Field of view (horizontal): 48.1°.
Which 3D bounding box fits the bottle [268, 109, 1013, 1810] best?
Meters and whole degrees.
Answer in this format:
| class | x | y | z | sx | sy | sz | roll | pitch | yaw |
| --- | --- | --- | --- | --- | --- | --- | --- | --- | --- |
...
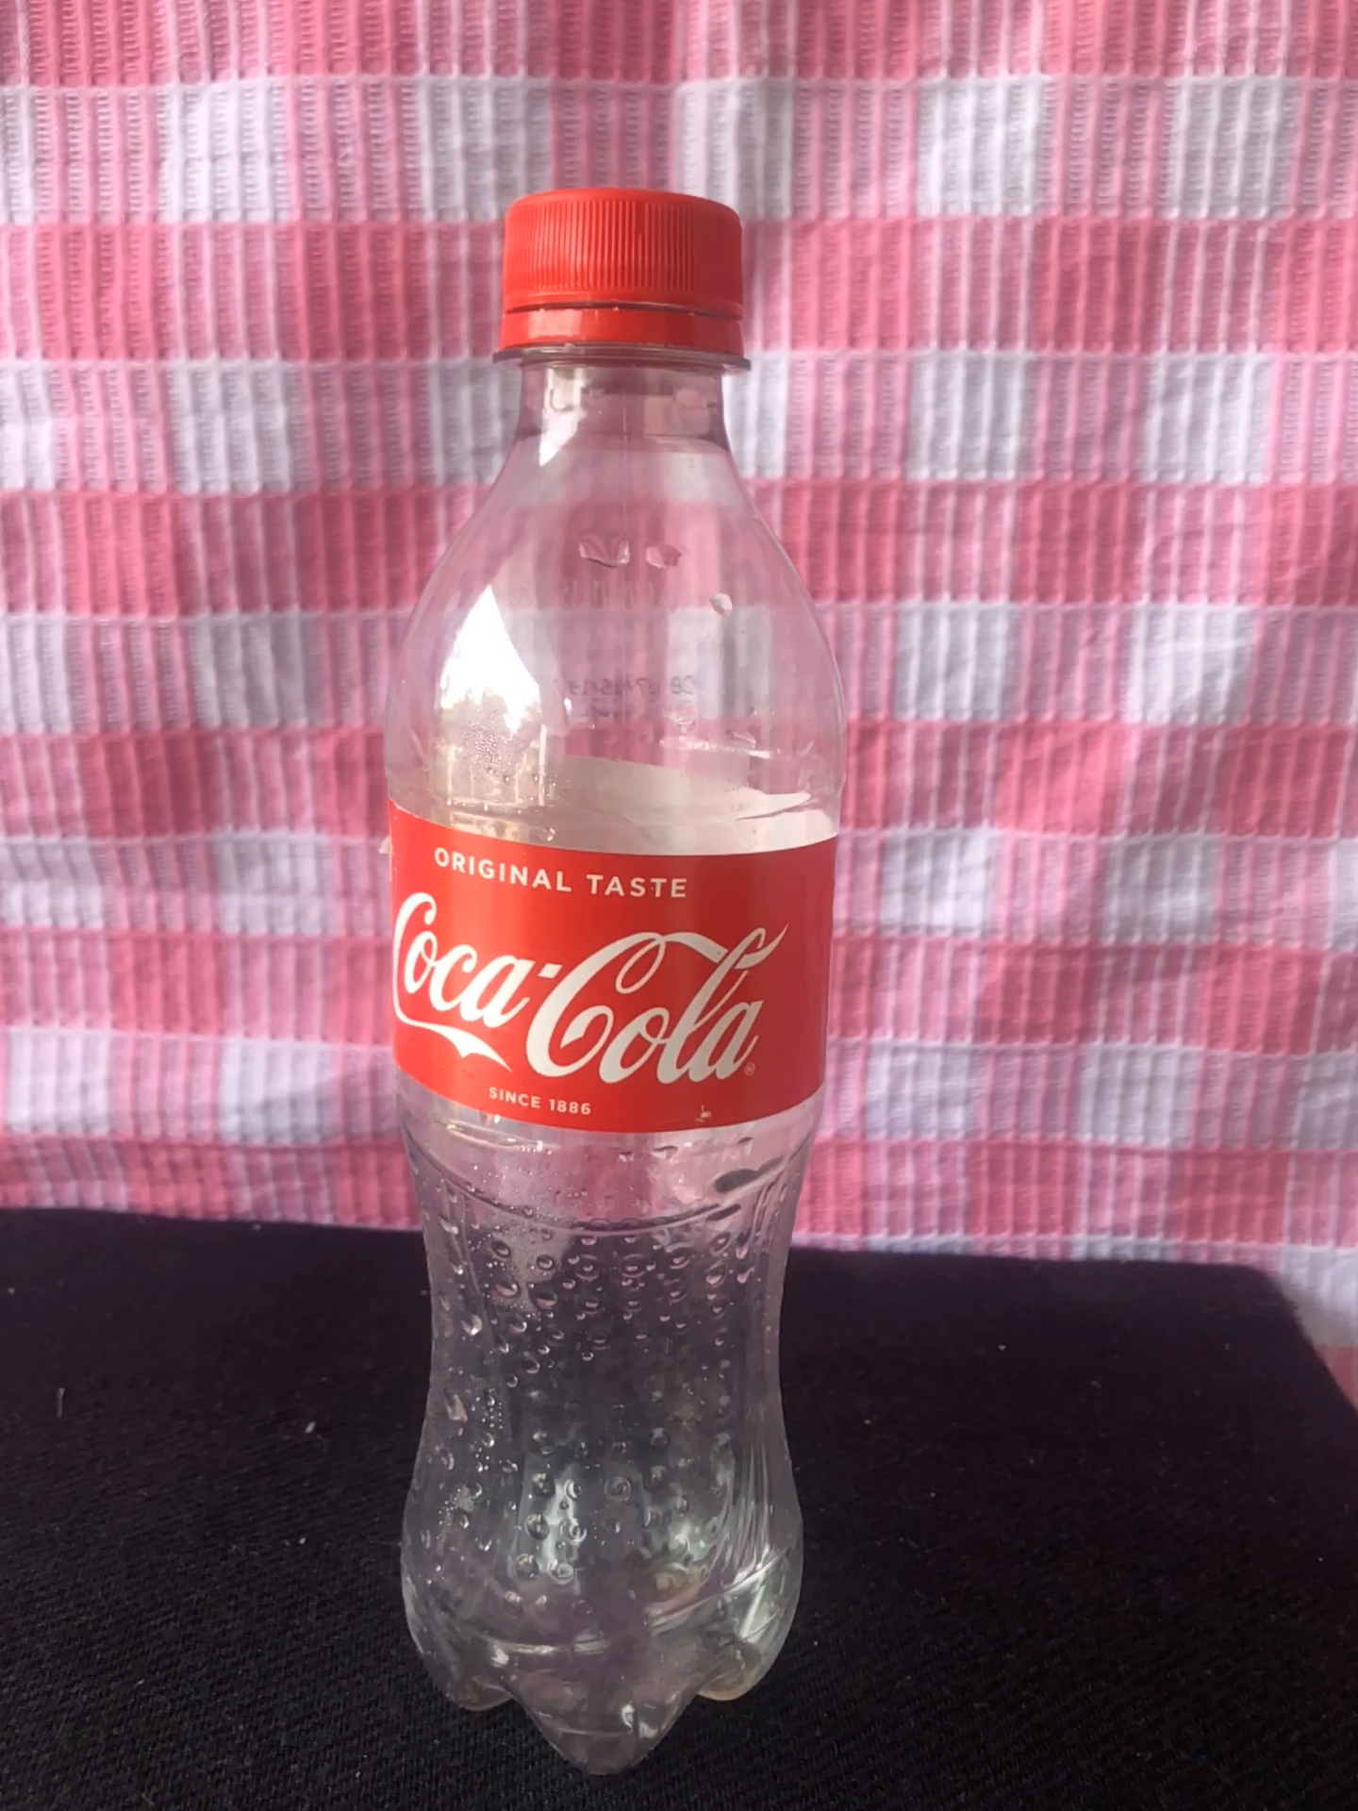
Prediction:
| class | x | y | z | sx | sy | sz | roll | pitch | yaw |
| --- | --- | --- | --- | --- | --- | --- | --- | --- | --- |
| bottle | -0.006 | 0.011 | 0.193 | 0.060 | 0.189 | 0.060 | 3 | 16 | -1 |
